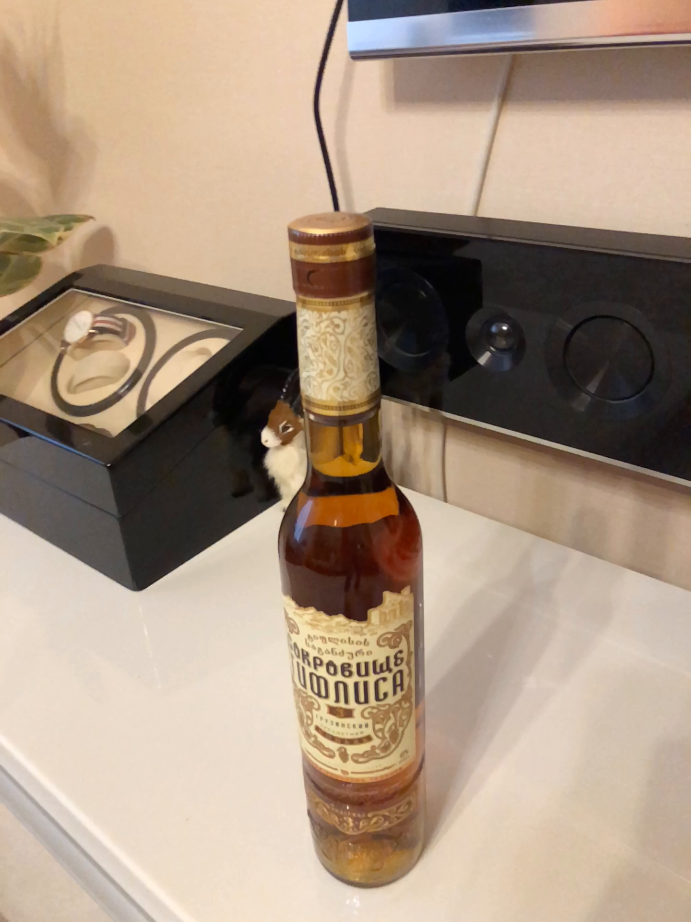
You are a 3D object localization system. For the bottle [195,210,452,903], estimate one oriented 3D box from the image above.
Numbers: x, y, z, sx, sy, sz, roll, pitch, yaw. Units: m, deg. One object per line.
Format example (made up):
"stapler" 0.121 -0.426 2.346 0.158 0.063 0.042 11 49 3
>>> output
"bottle" 0.005 0.057 0.331 0.070 0.308 0.070 -3 28 2
